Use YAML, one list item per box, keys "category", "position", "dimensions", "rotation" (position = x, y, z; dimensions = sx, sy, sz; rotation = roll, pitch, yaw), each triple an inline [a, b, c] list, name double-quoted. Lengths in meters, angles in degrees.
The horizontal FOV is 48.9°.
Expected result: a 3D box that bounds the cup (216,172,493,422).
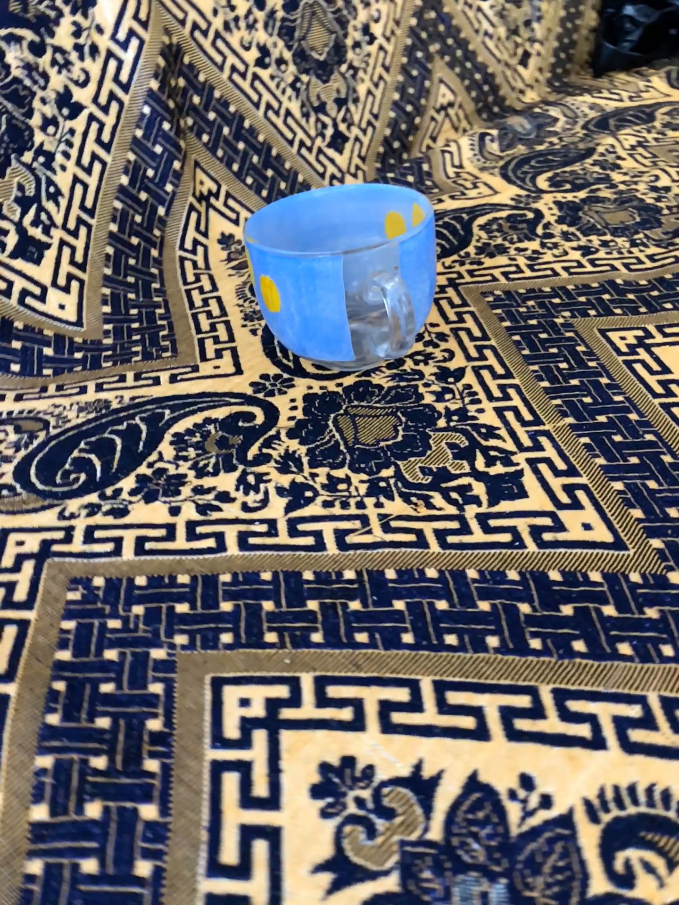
- category: "cup"
  position: [0.003, -0.095, 0.422]
  dimensions: [0.108, 0.072, 0.139]
  rotation: [-14, 38, -13]
